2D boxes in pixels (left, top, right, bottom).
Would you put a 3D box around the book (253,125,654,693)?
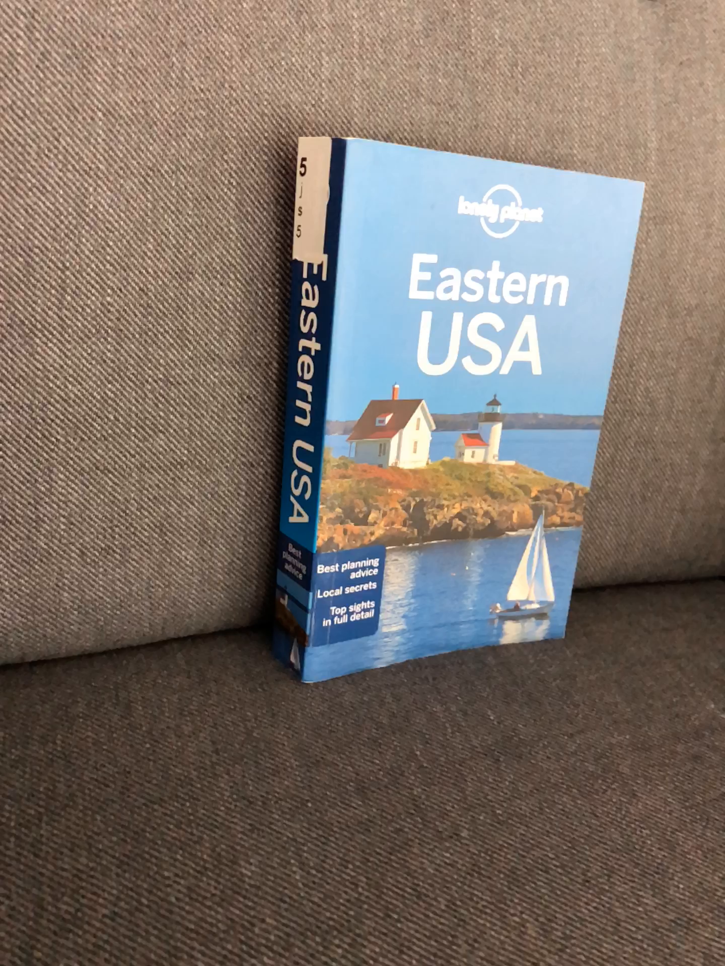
[{"bbox_3d":[0.032,-0.024,0.322,0.135,0.200,0.039,-3,19,-24],"label":"book"}]
